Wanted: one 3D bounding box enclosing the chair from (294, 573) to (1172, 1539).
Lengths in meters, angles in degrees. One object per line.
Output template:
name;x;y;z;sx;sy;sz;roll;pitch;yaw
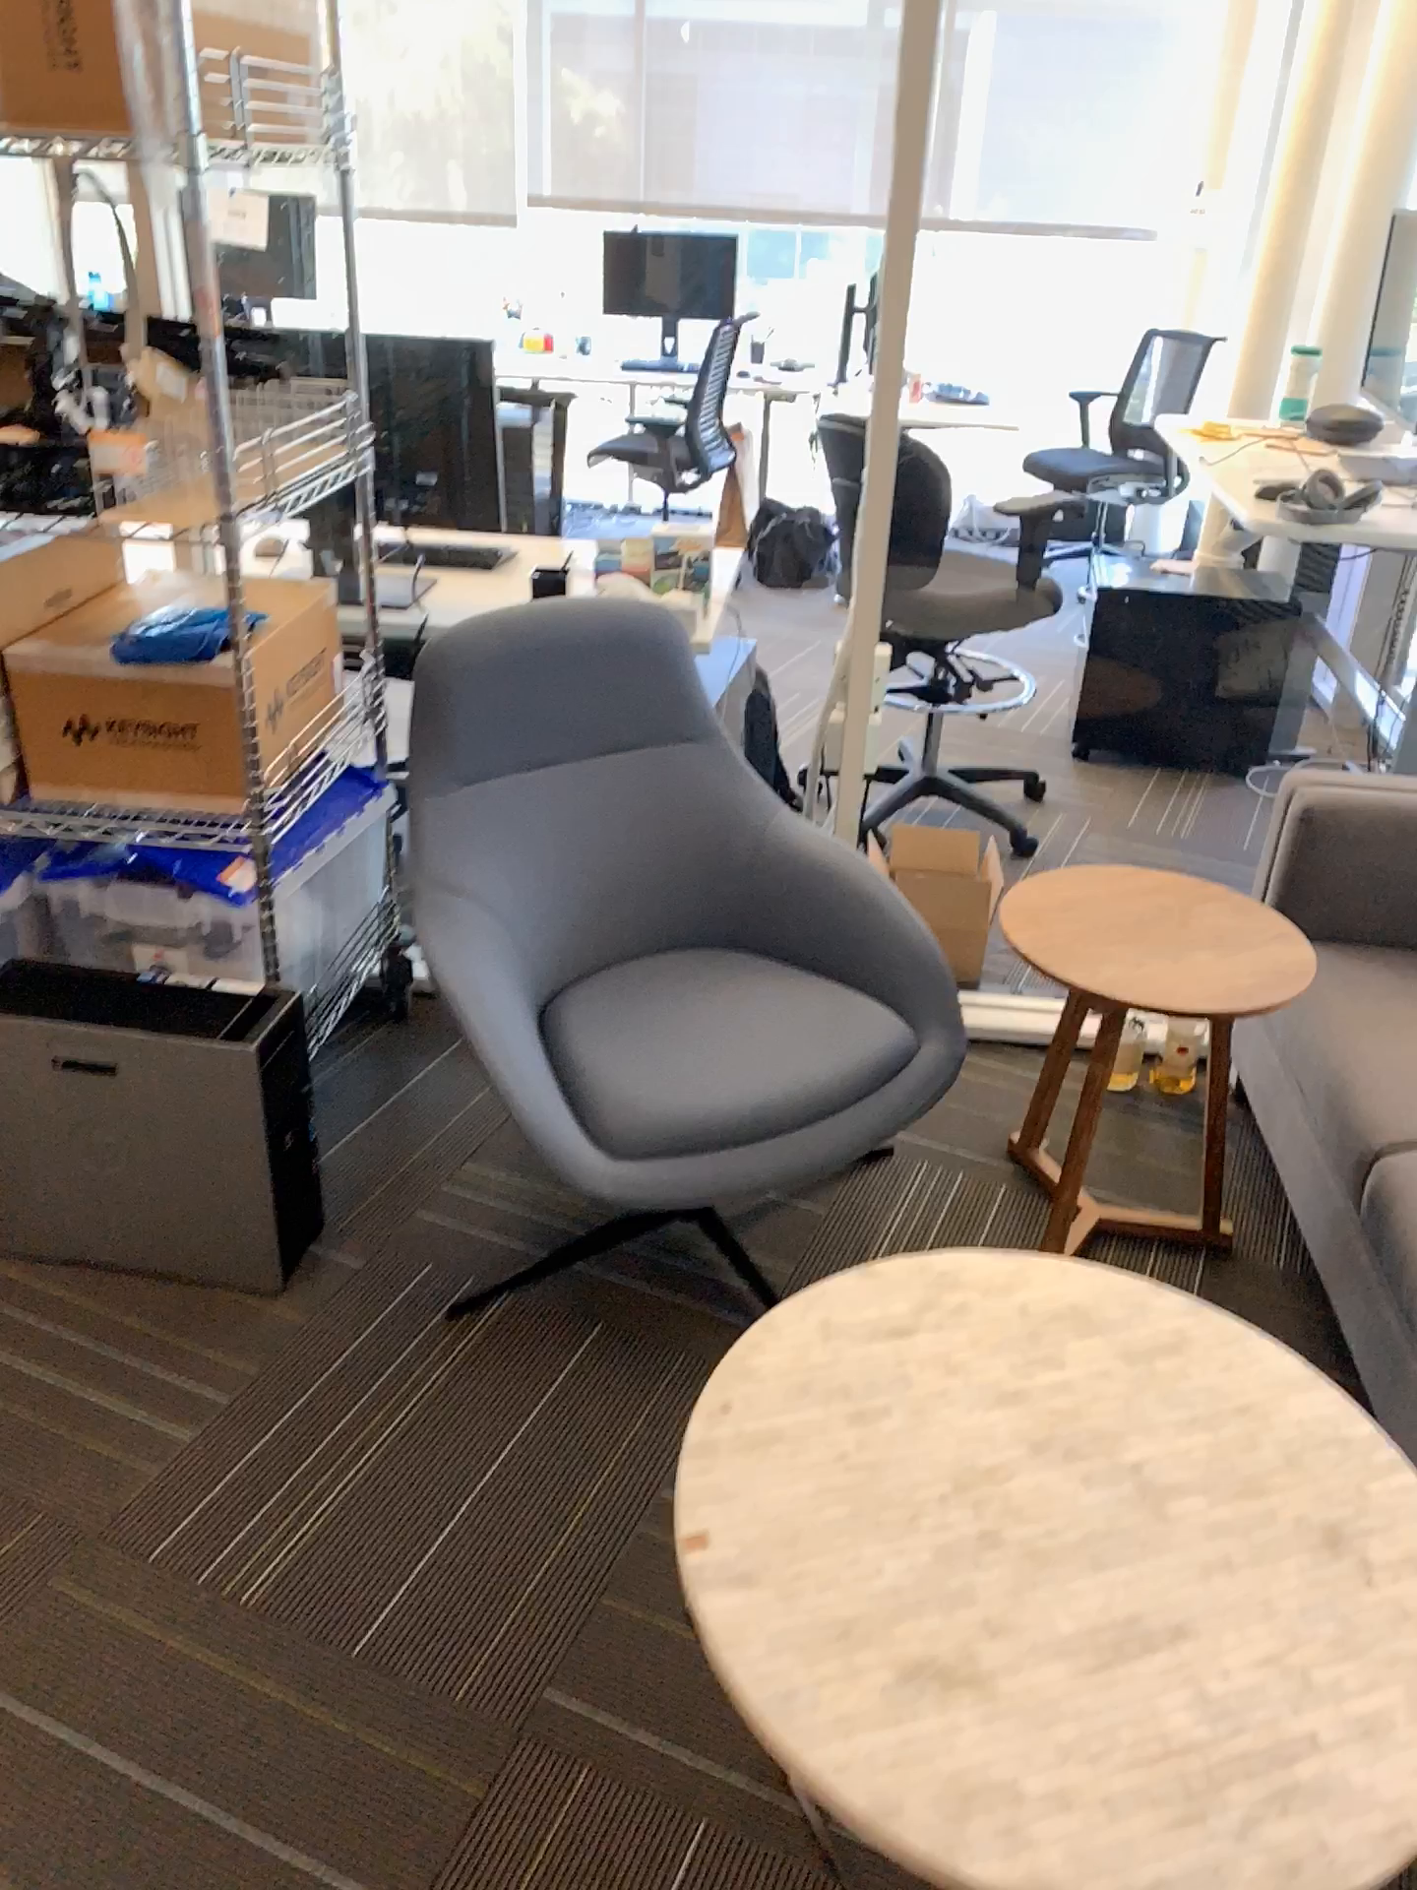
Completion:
chair;-0.040;0.059;2.277;0.841;0.964;1.005;-14;32;-28
